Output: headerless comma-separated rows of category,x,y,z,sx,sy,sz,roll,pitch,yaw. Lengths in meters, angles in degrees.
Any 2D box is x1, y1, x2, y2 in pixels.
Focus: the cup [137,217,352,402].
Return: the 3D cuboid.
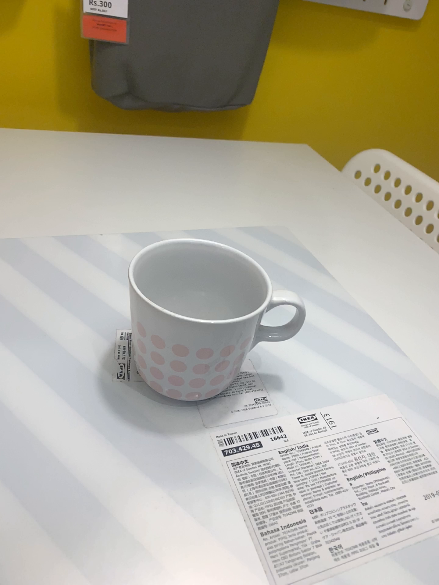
cup,0.006,0.011,0.288,0.110,0.080,0.080,3,36,-12
